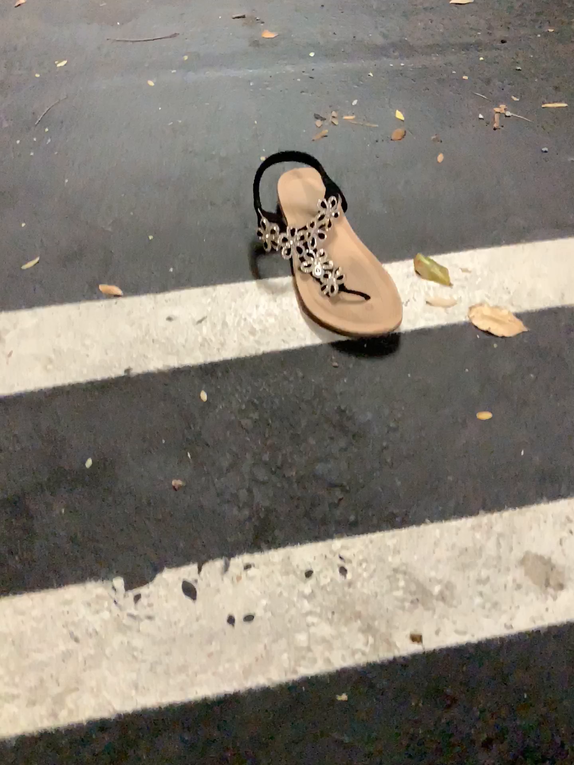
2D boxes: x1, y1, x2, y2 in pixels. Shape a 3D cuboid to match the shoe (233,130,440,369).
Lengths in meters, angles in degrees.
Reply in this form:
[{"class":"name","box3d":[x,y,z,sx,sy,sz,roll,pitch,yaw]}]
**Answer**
[{"class":"shoe","box3d":[0.039,-0.147,0.655,0.120,0.060,0.260,-14,58,-12]}]
